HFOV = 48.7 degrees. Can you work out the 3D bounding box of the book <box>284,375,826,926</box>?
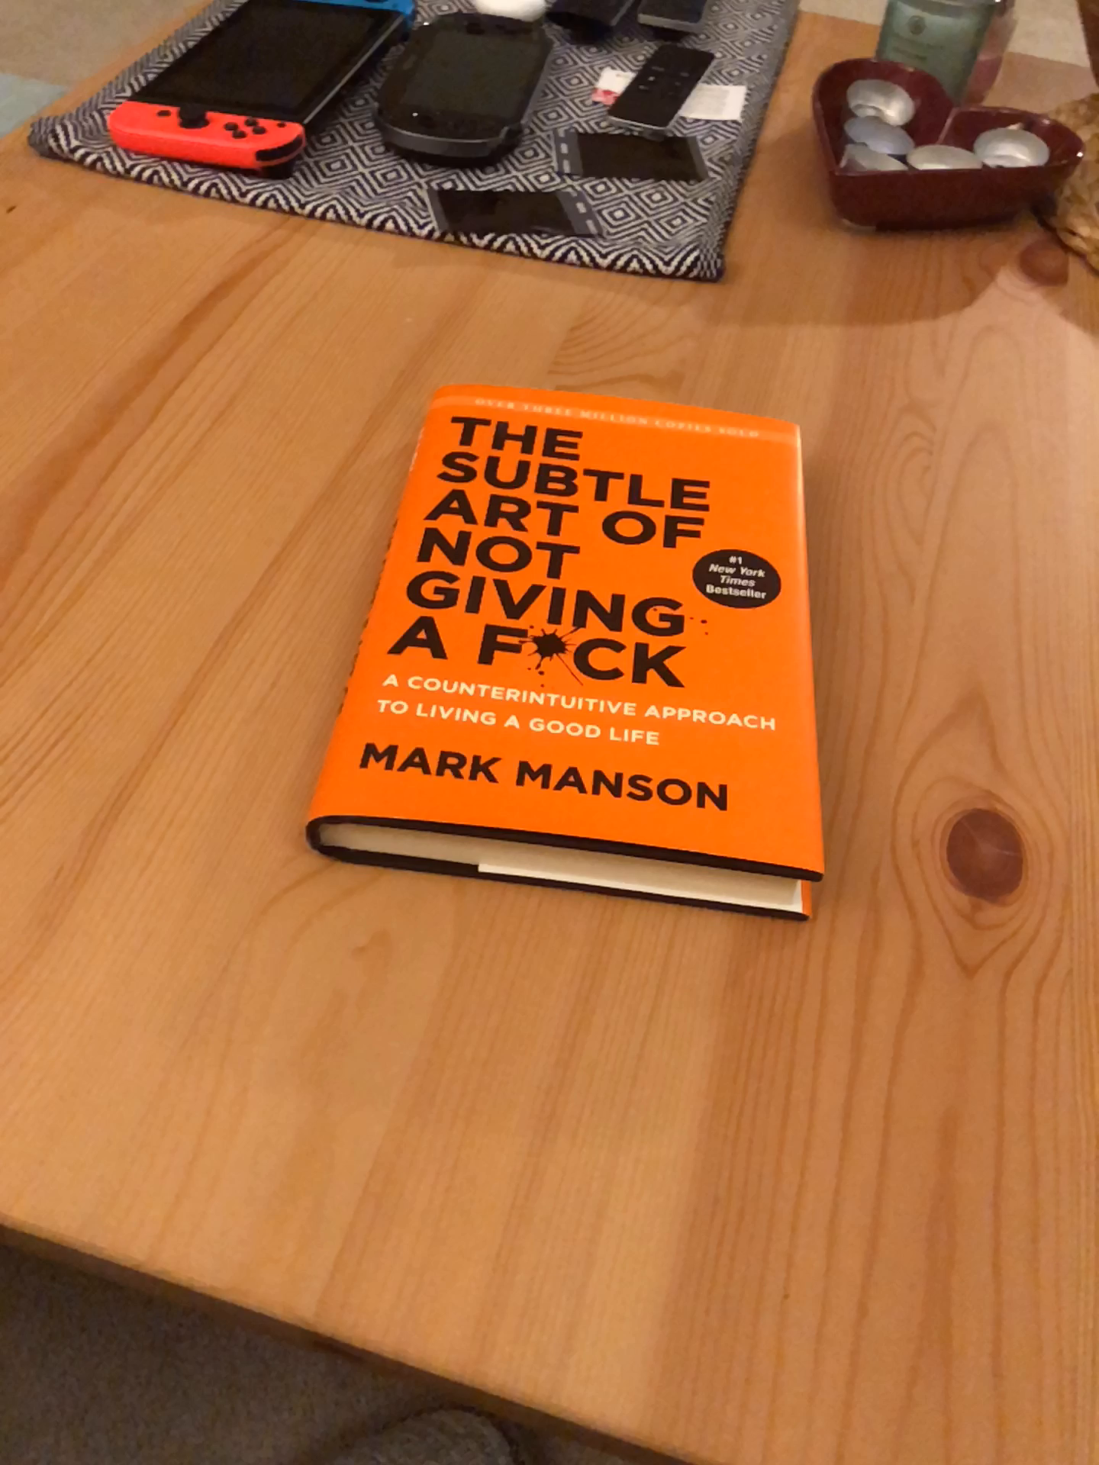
[{"bbox_3d":[0.015,-0.044,0.437,0.160,0.030,0.221,7,50,3],"label":"book"}]
